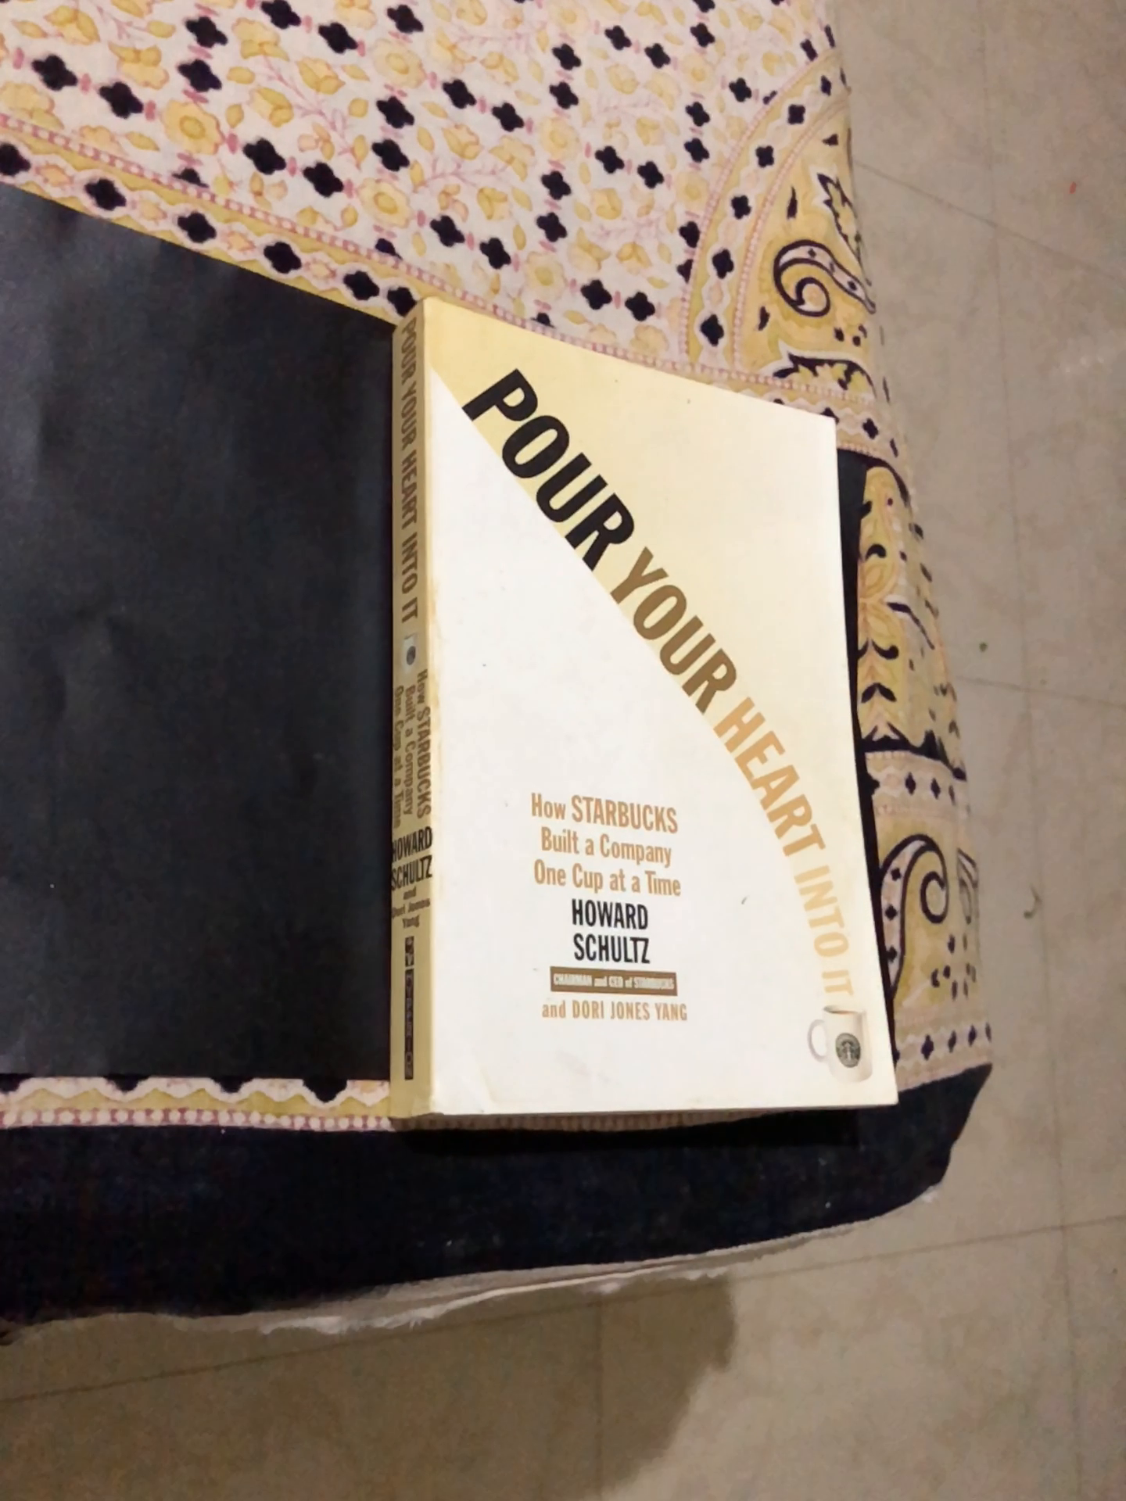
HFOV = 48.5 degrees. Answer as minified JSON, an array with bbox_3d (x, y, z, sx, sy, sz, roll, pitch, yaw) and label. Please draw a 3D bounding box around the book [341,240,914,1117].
[{"bbox_3d":[0.020,-0.014,0.385,0.161,0.050,0.240,9,71,-31],"label":"book"}]
